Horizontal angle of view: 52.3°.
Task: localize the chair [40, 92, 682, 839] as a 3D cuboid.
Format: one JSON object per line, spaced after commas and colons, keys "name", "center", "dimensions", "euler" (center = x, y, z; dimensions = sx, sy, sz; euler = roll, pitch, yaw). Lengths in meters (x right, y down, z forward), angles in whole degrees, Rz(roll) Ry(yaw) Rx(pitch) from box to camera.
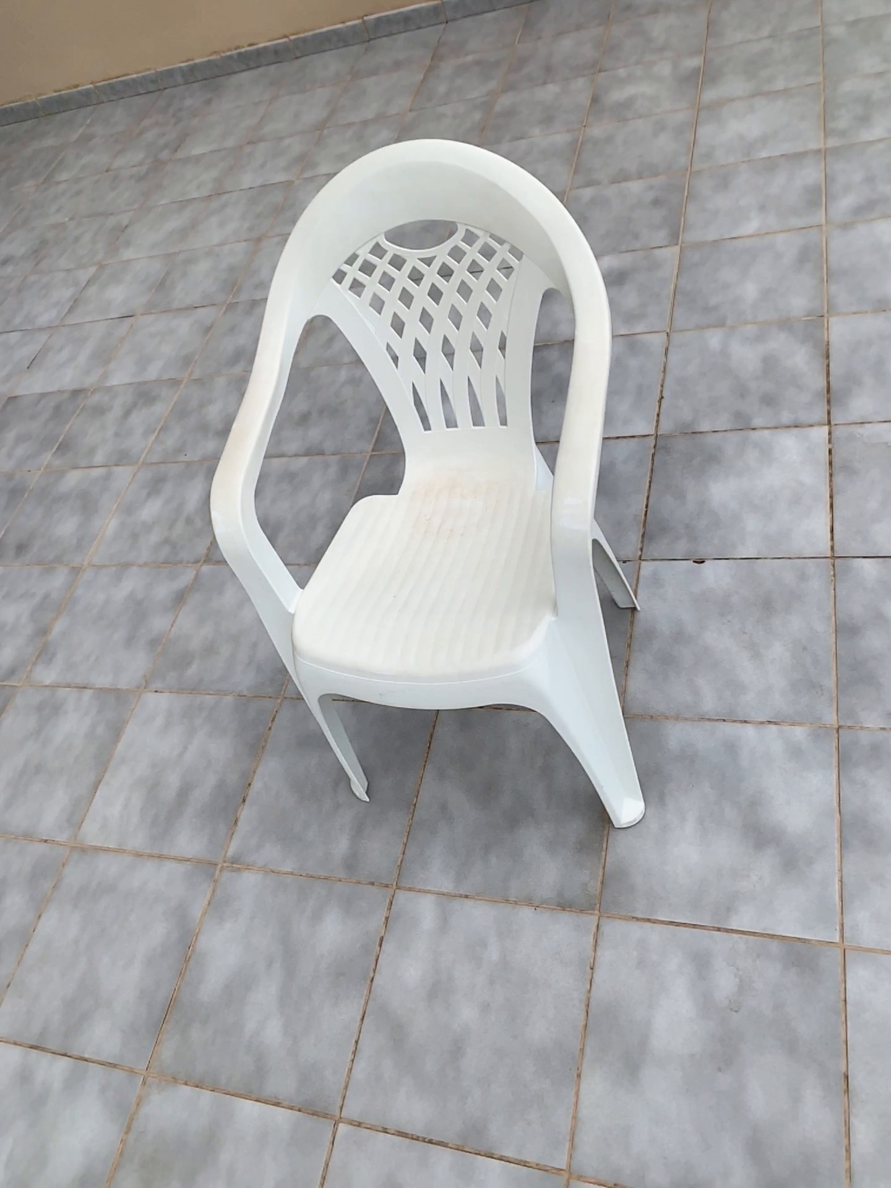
{"name": "chair", "center": [0.010, -0.121, 1.336], "dimensions": [0.544, 0.823, 0.611], "euler": [1, 54, 21]}
